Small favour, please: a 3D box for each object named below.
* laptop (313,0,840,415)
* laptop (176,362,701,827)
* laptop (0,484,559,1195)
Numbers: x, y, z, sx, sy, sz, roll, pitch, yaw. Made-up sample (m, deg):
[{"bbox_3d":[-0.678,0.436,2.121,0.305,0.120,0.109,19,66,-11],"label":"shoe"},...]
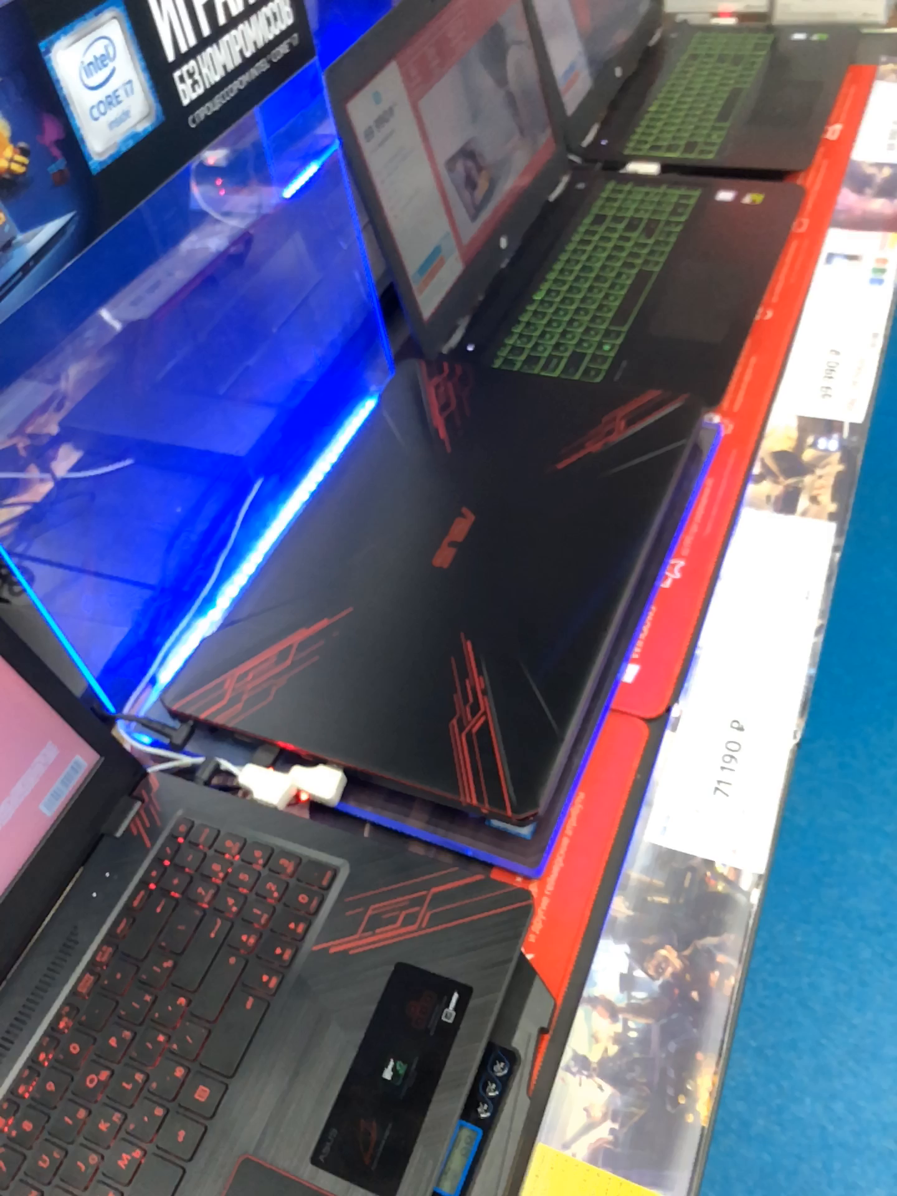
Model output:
[{"bbox_3d":[0.133,-0.390,0.853,0.292,0.242,0.375,13,52,21],"label":"laptop"},{"bbox_3d":[0.010,-0.037,0.700,0.243,0.006,0.374,13,53,21],"label":"laptop"},{"bbox_3d":[-0.182,0.193,0.369,0.319,0.231,0.392,11,52,20],"label":"laptop"}]
